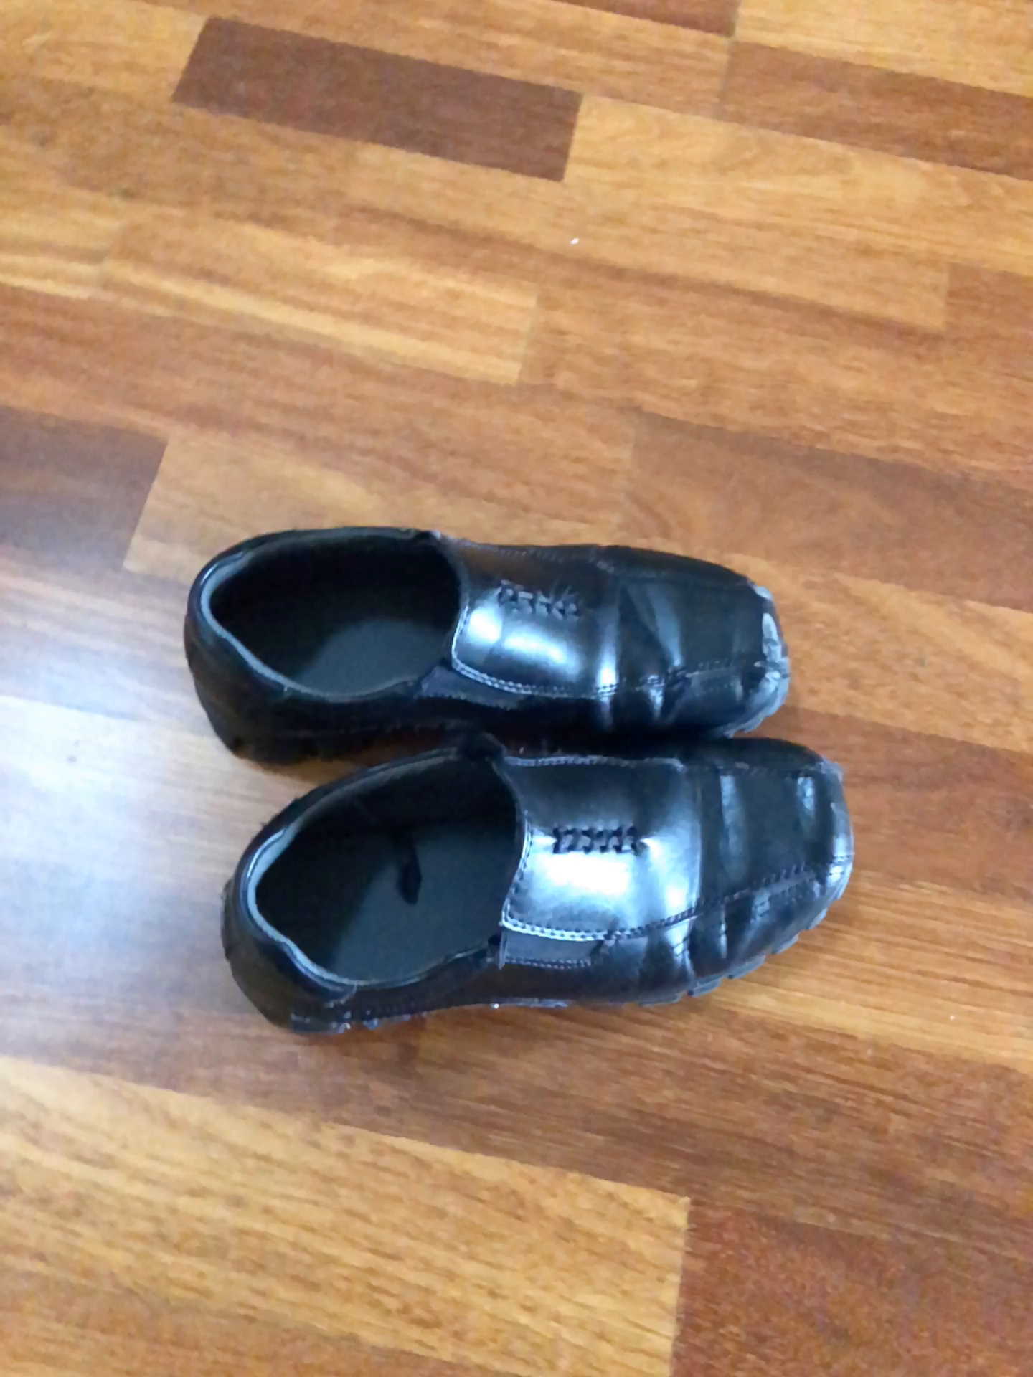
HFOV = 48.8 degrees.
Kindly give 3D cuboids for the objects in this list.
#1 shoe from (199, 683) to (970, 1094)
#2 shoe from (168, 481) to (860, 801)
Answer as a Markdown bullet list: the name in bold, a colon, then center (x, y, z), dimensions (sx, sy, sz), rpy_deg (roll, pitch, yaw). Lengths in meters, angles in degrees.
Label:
- **shoe**: center (0.018, 0.070, 0.395), dimensions (0.232, 0.075, 0.094), rpy_deg (-7, 68, -7)
- **shoe**: center (-0.003, -0.017, 0.433), dimensions (0.232, 0.075, 0.091), rpy_deg (-2, 67, -5)
